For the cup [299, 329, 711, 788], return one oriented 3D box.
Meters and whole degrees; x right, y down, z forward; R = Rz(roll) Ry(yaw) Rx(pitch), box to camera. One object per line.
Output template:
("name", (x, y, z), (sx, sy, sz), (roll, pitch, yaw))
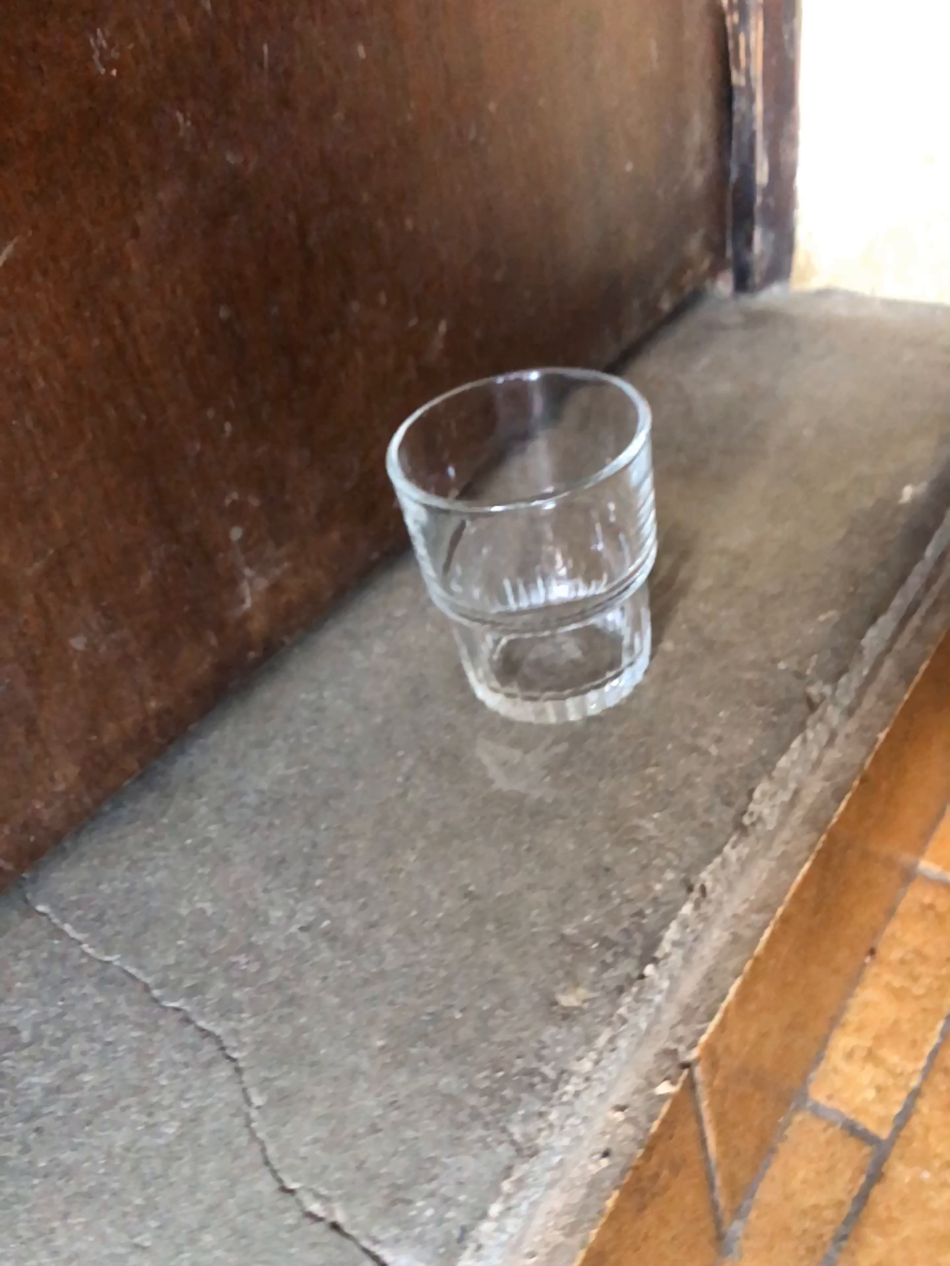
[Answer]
("cup", (0.011, -0.023, 0.285), (0.070, 0.080, 0.070), (-8, 39, 7))
